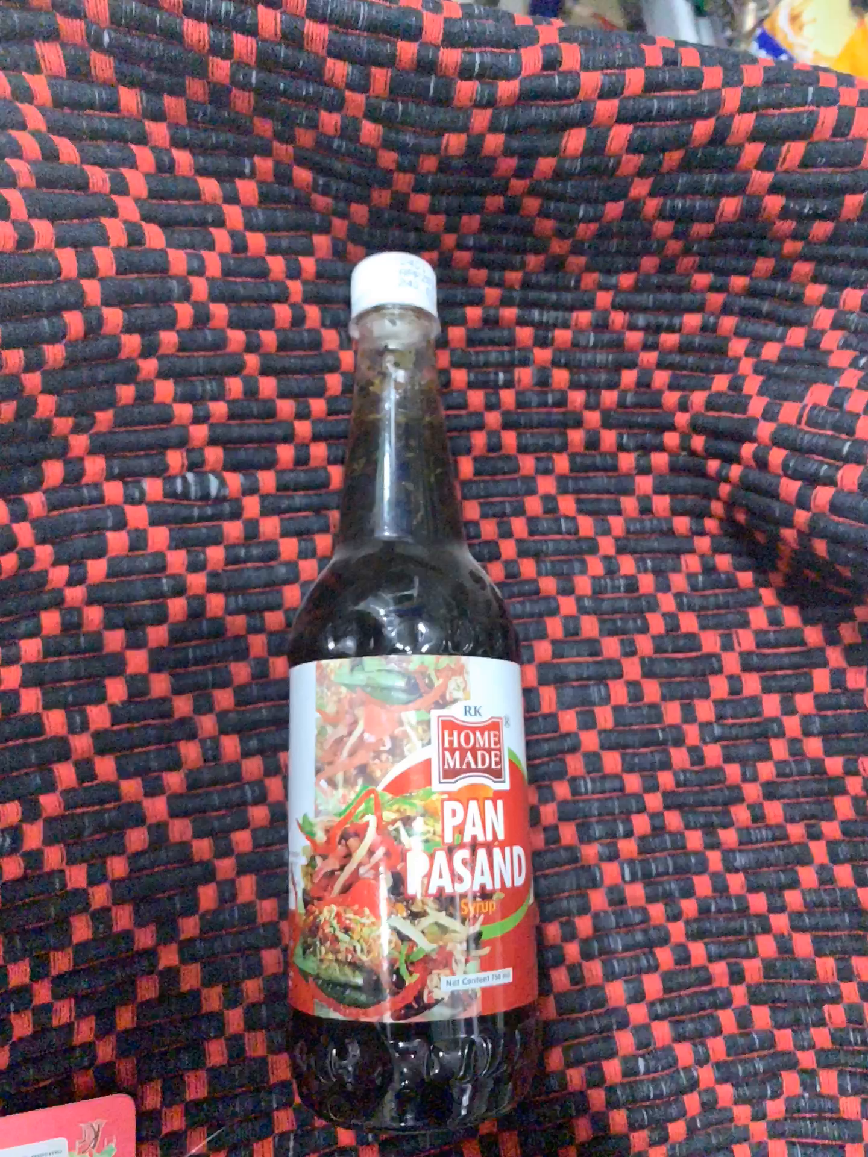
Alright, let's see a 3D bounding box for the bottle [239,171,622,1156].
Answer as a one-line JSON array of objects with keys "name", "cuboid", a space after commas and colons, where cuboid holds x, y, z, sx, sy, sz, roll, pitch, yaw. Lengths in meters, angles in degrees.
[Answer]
[{"name": "bottle", "cuboid": [-0.014, 0.013, 0.294, 0.090, 0.080, 0.280, 1, 70, -13]}]
